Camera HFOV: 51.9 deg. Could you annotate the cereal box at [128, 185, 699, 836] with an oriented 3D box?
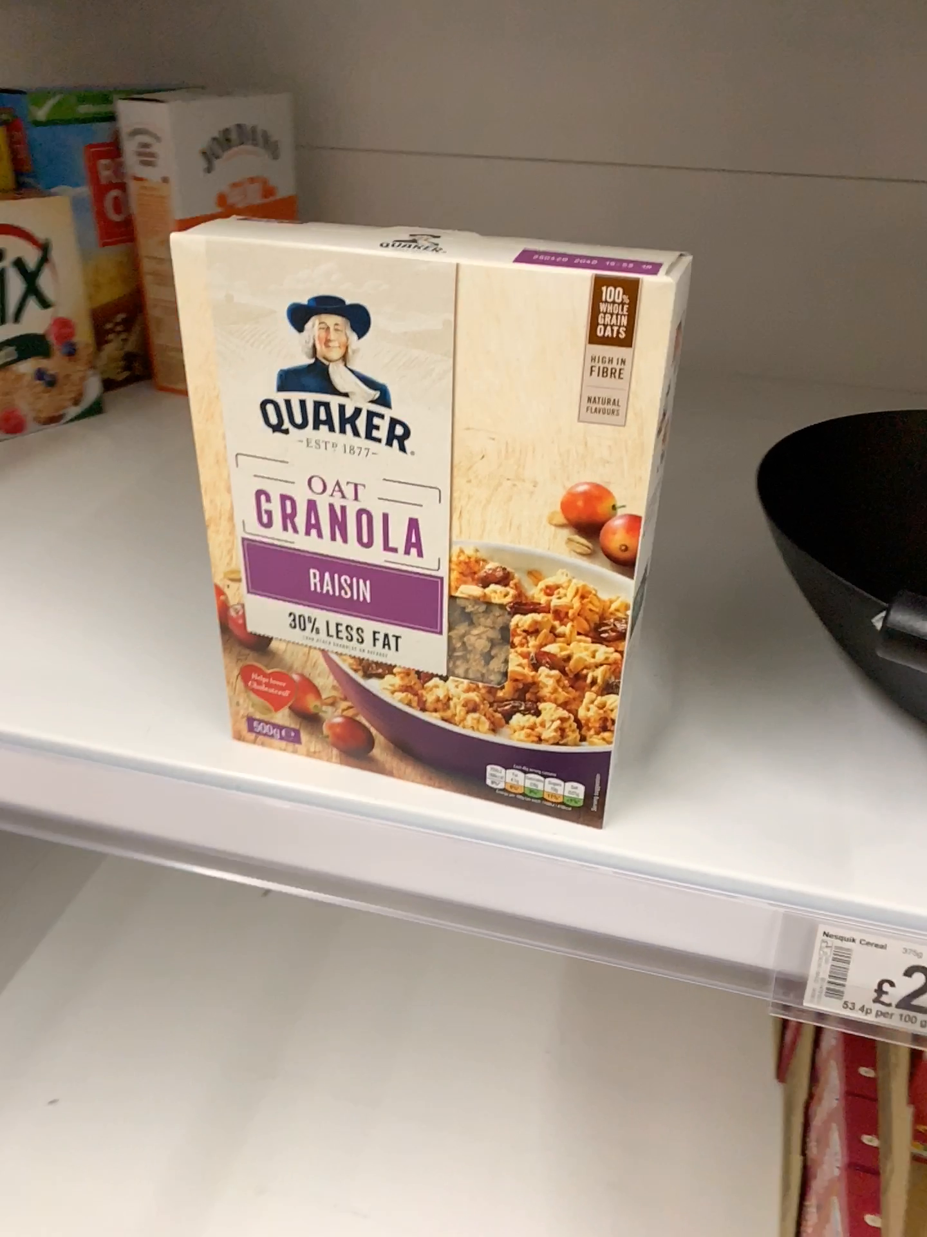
[{"bbox_3d":[-0.021,-0.042,0.412,0.200,0.248,0.061,11,32,15],"label":"cereal box"}]
